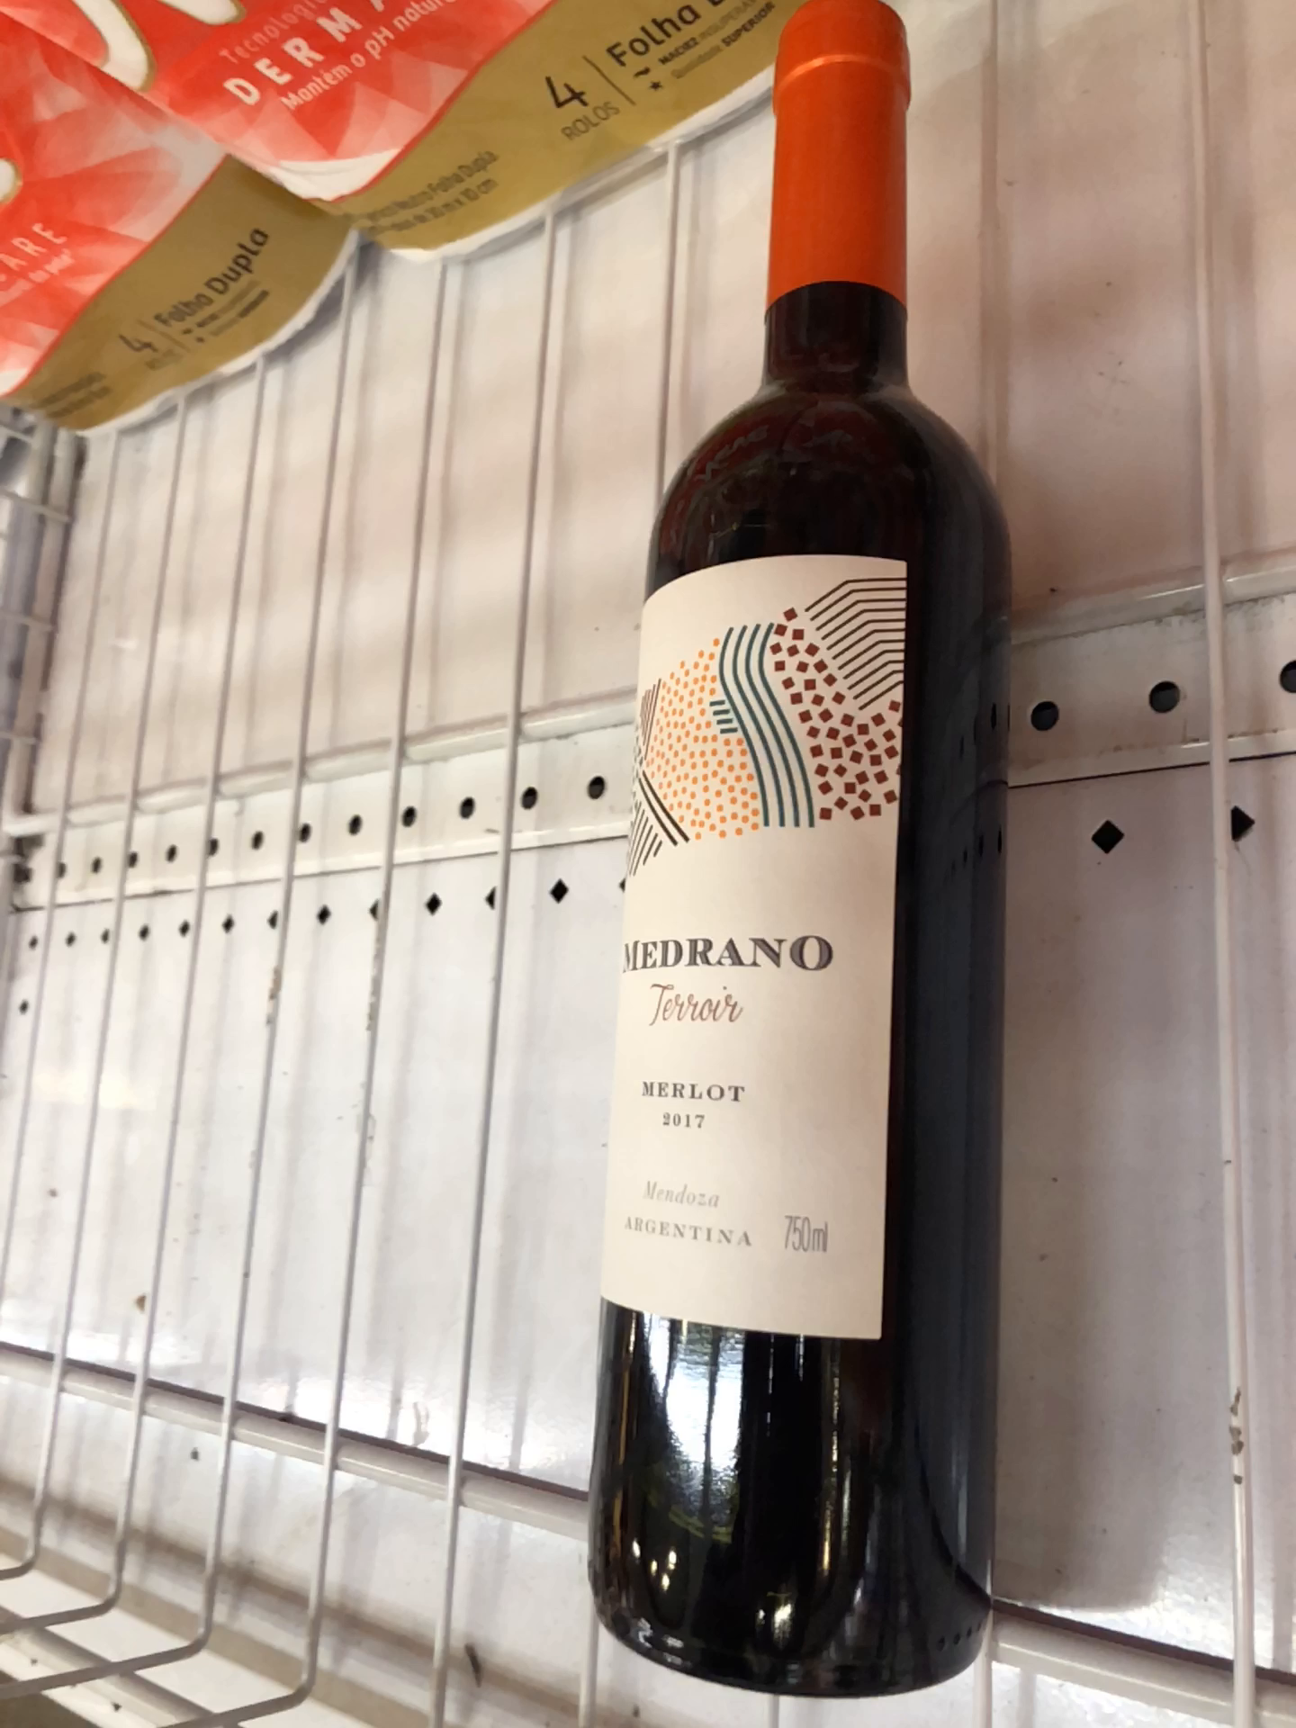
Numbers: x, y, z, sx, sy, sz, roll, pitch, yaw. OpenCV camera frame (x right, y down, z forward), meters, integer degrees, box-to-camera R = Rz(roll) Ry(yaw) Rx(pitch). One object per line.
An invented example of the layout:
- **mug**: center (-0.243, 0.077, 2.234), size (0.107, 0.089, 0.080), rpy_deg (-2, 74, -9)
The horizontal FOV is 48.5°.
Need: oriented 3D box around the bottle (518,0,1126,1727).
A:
- **bottle**: center (0.042, -0.024, 0.291), size (0.080, 0.070, 0.330), rpy_deg (-5, 75, 40)
